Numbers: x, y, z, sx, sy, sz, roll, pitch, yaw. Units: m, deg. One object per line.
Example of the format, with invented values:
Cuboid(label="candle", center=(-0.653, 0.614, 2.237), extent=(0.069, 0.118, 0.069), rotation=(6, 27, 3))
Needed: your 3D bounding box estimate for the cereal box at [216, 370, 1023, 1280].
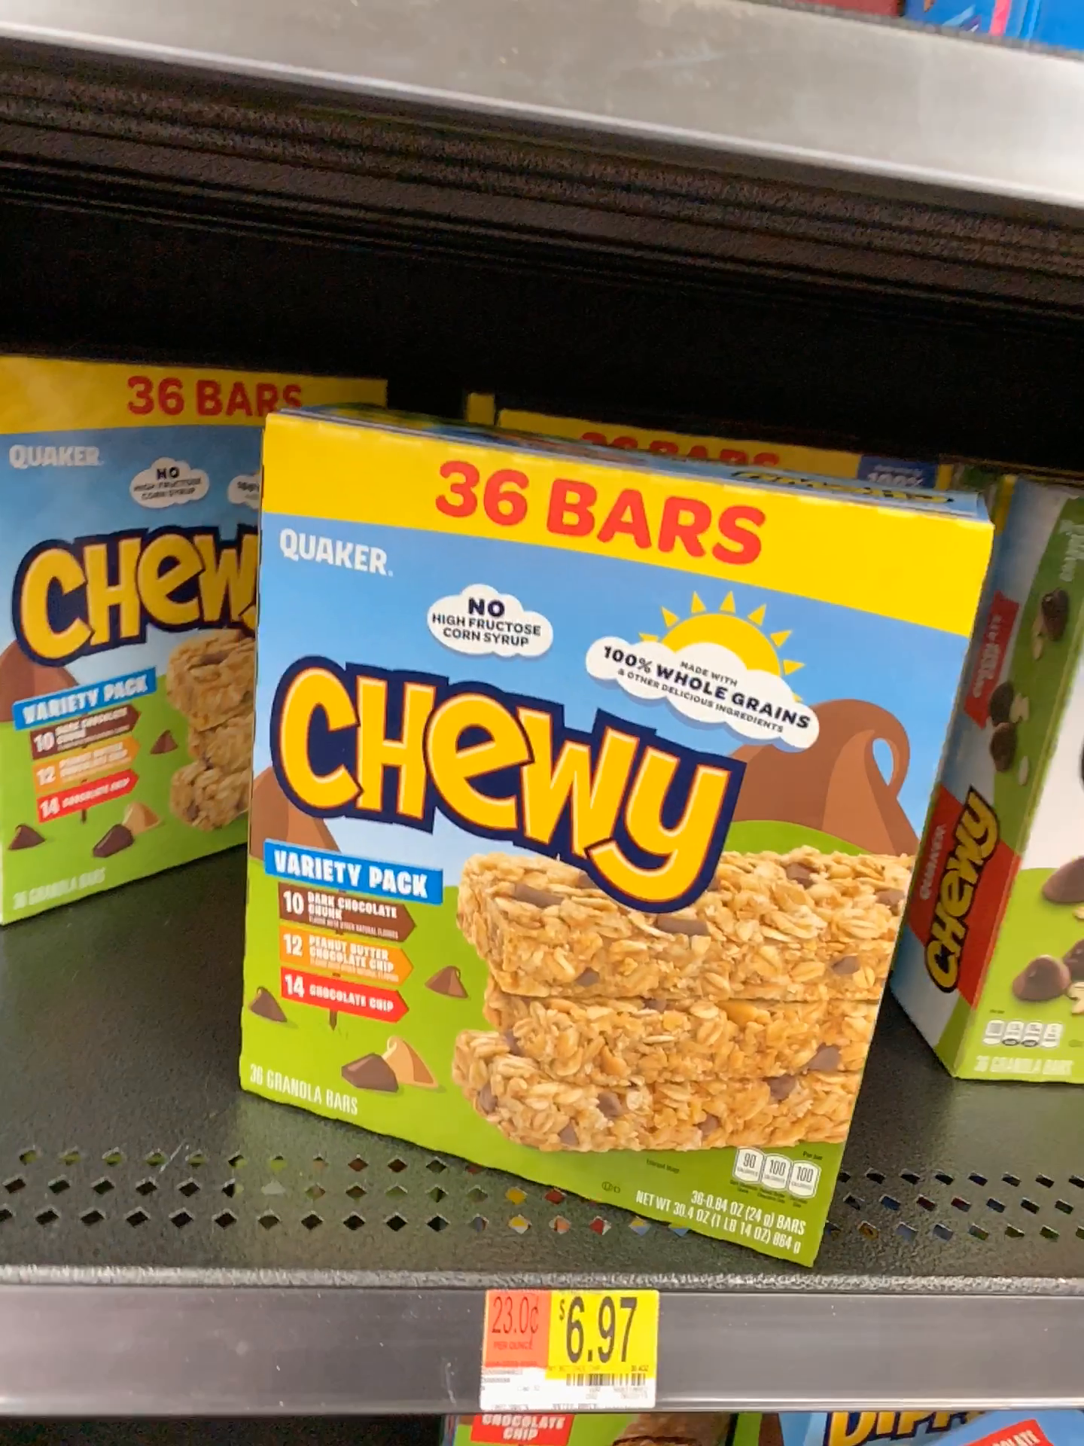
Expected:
Cuboid(label="cereal box", center=(0.011, 0.024, 0.348), extent=(0.200, 0.229, 0.070), rotation=(13, 19, 14))
